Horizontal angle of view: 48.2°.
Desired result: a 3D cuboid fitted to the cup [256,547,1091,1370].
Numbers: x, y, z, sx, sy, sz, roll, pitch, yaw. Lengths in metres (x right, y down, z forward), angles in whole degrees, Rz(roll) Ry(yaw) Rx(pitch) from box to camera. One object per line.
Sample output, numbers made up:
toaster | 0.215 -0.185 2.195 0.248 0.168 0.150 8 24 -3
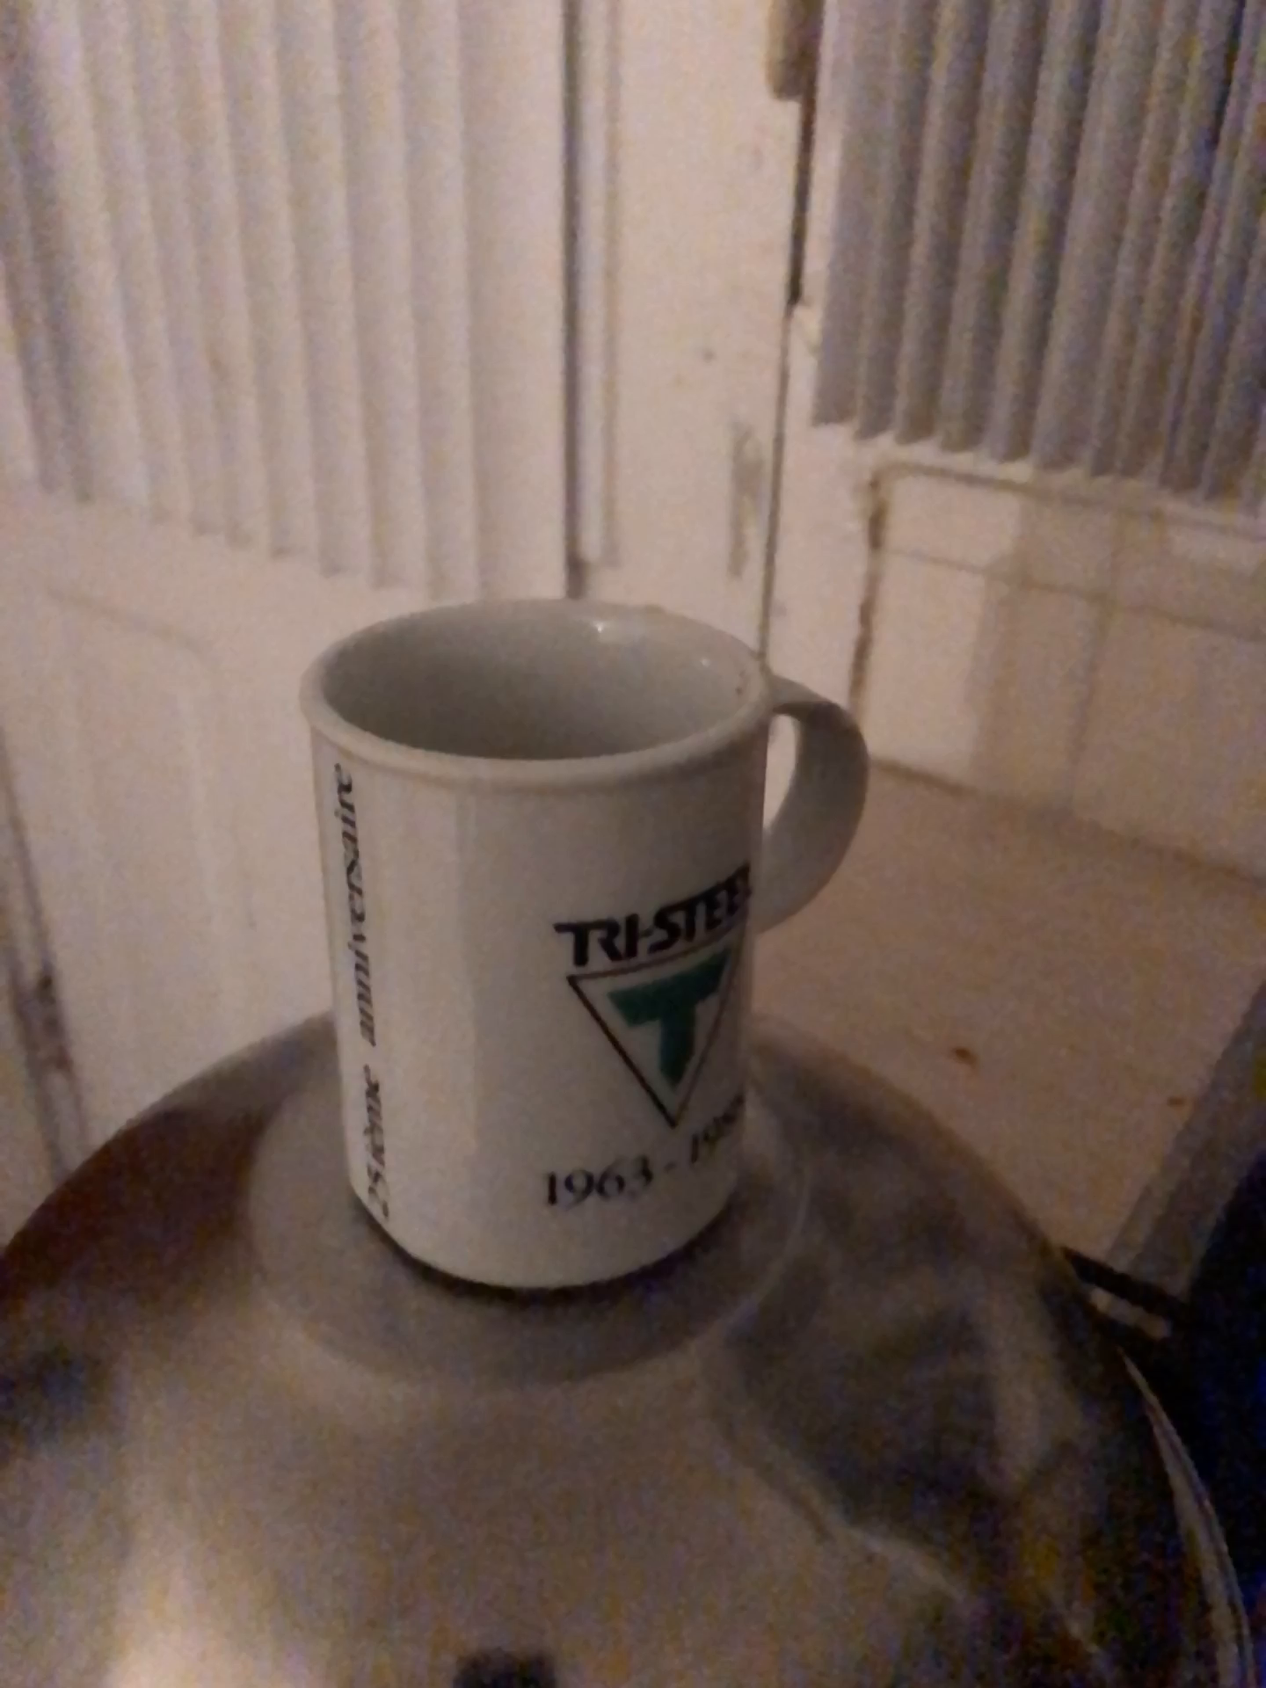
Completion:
cup | 0.005 0.012 0.253 0.116 0.099 0.070 -13 32 -25
